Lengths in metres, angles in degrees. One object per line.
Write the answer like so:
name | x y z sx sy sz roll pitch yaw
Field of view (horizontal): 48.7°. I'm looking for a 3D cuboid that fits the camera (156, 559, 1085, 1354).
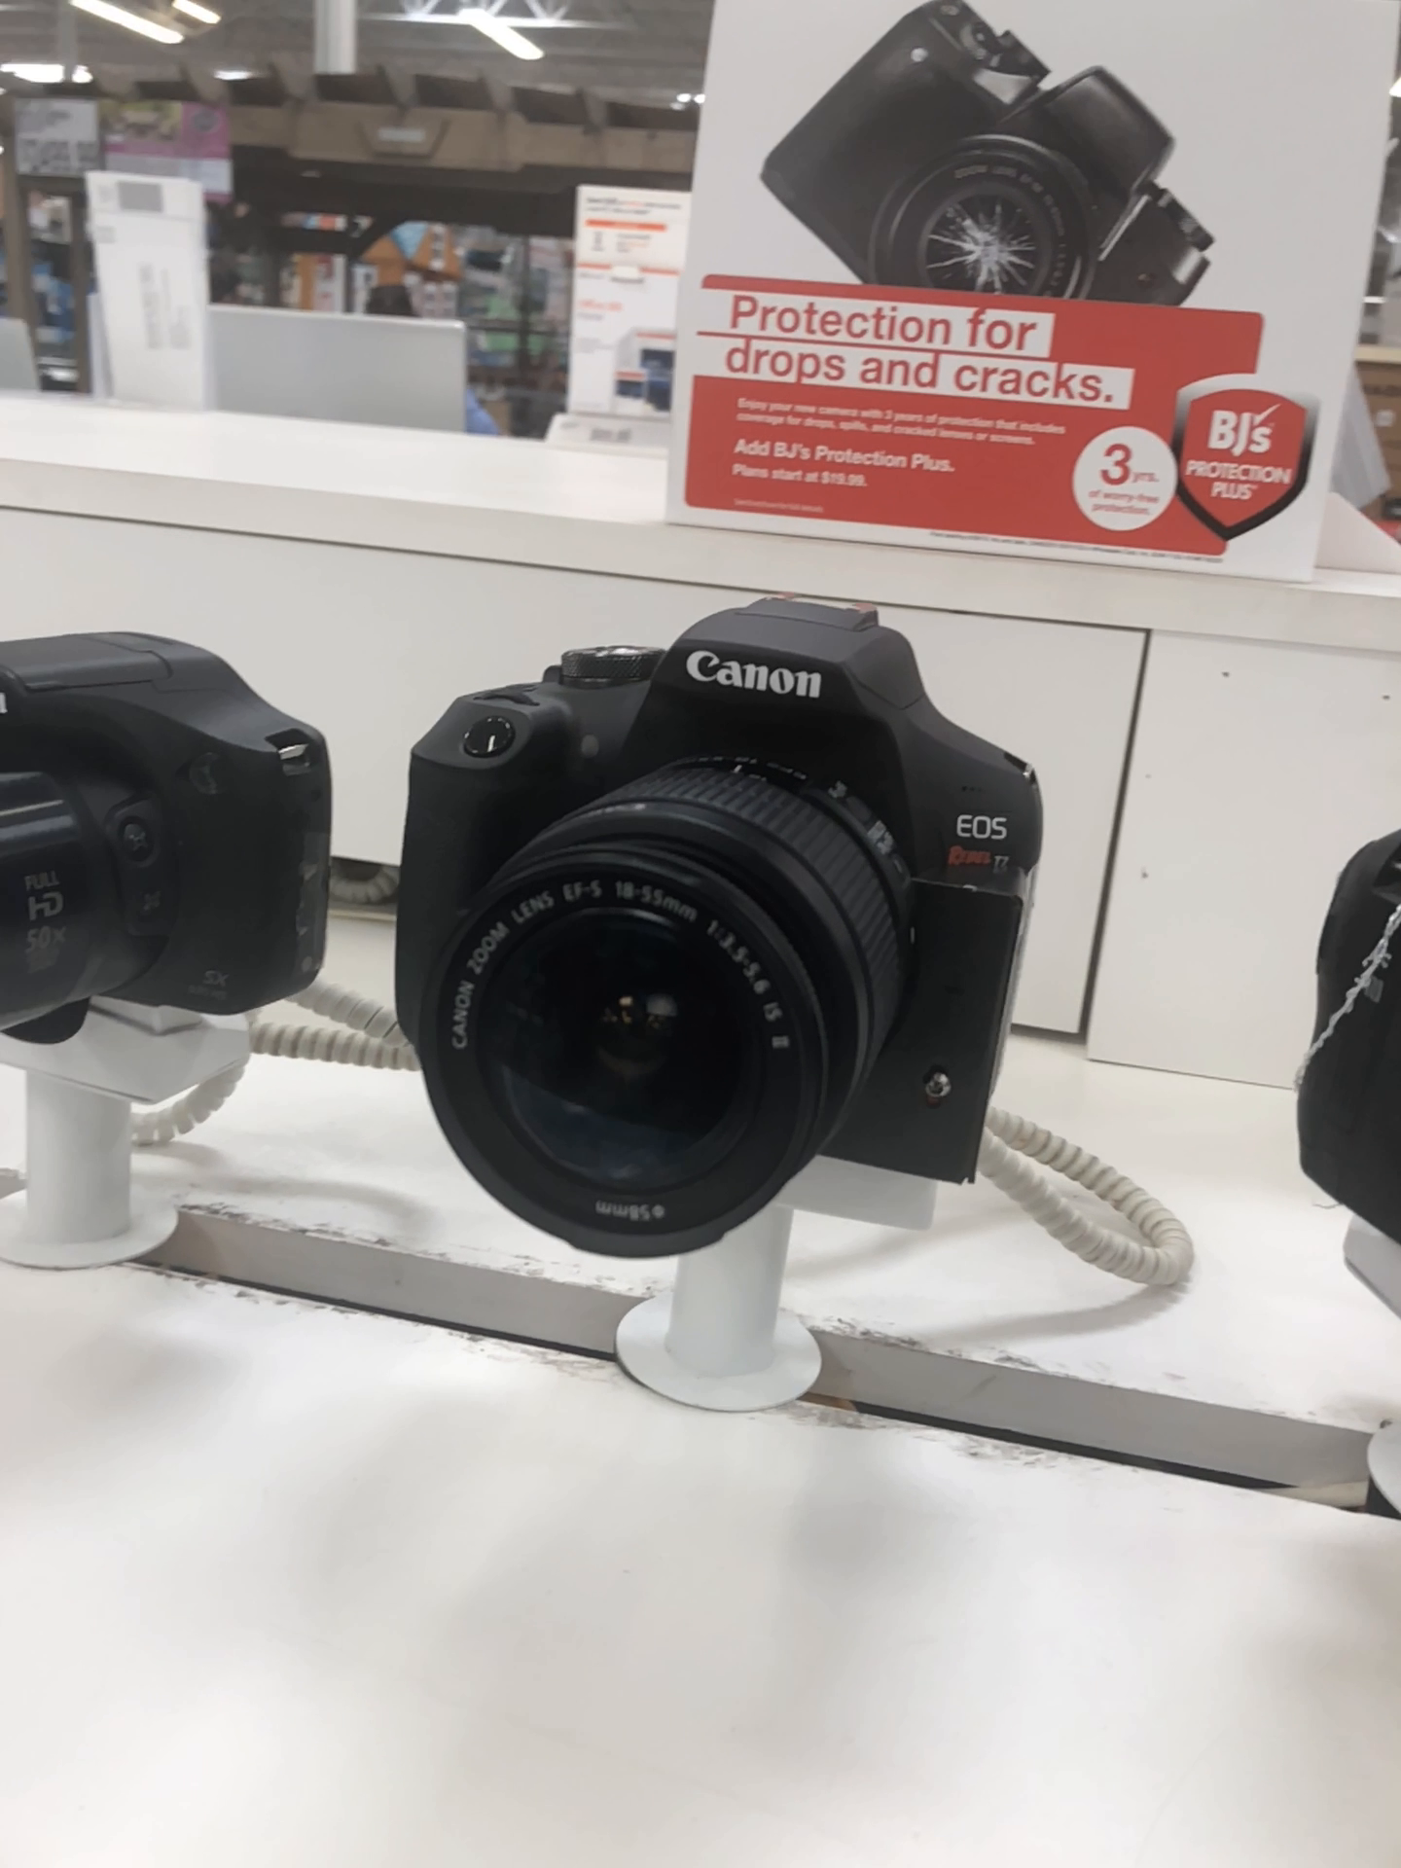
camera | -0.004 -0.011 0.285 0.130 0.092 0.132 8 19 10
